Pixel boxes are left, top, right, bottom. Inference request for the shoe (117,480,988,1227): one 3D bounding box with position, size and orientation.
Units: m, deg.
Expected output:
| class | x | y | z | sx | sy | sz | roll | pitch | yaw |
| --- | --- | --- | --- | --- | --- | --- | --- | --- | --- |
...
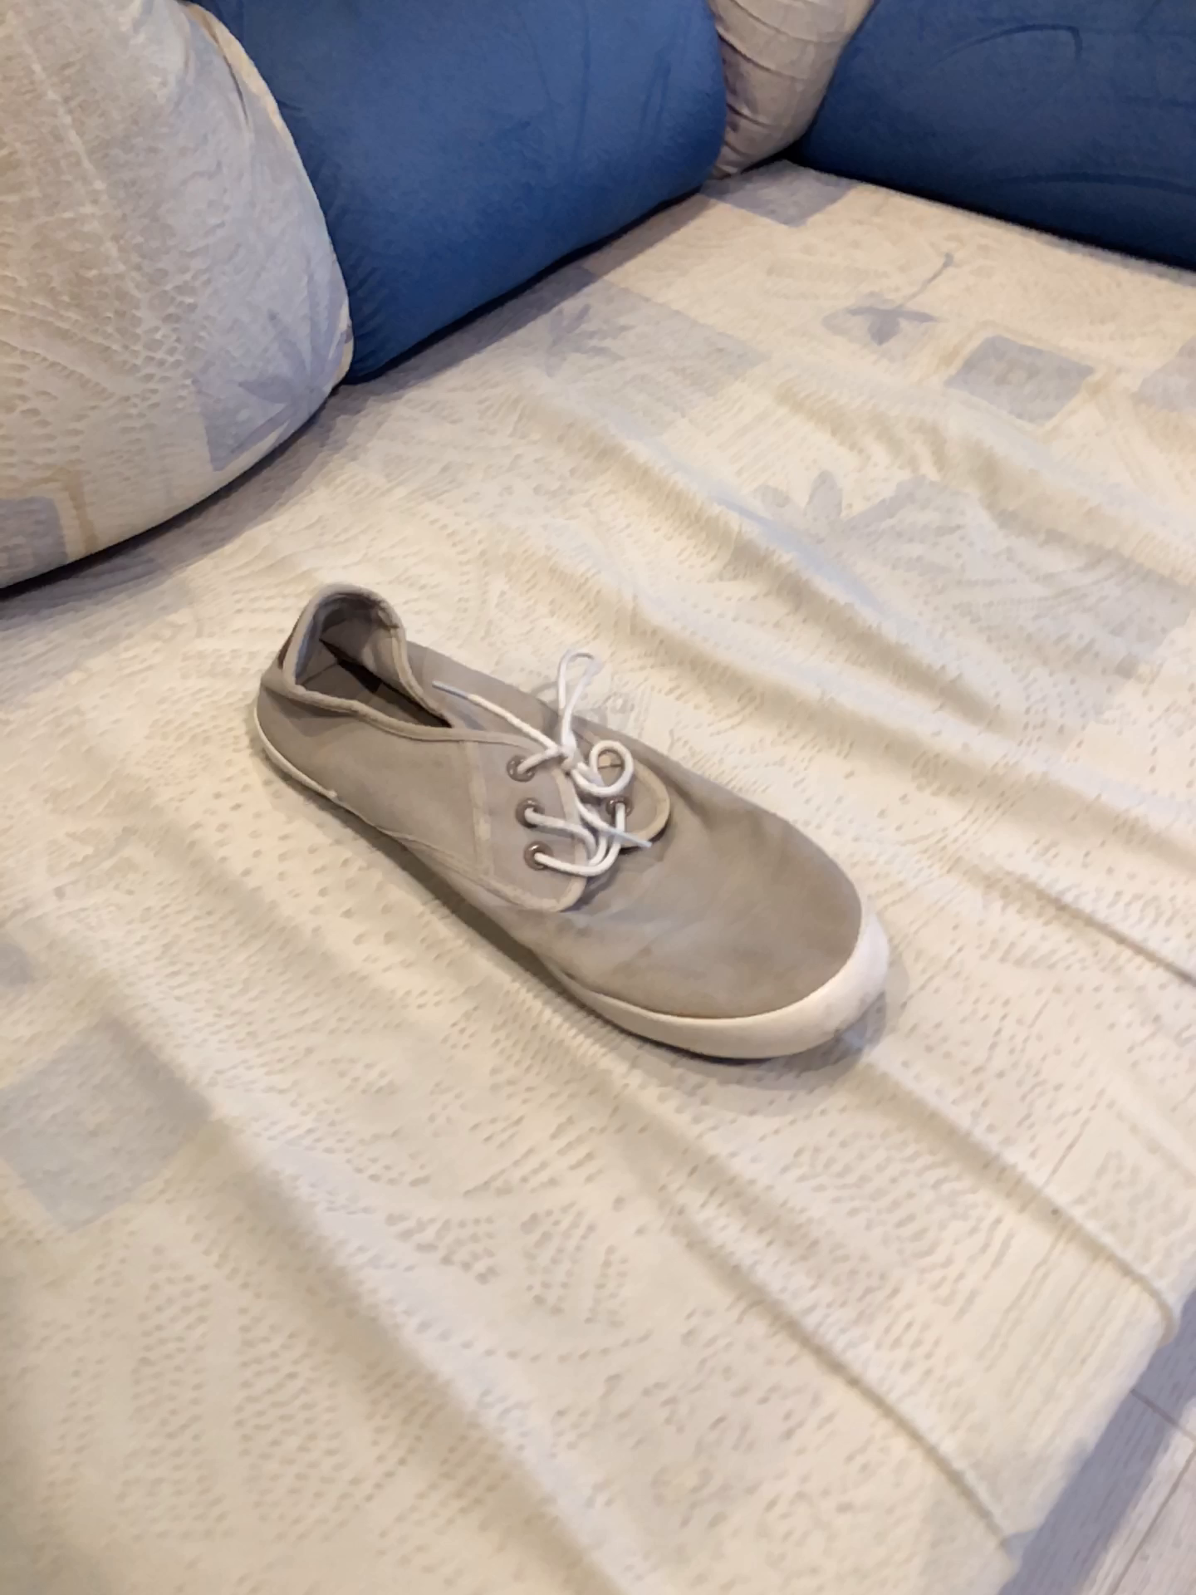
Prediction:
| class | x | y | z | sx | sy | sz | roll | pitch | yaw |
| --- | --- | --- | --- | --- | --- | --- | --- | --- | --- |
| shoe | -0.025 | 0.002 | 0.440 | 0.271 | 0.079 | 0.110 | 33 | 57 | 27 |
